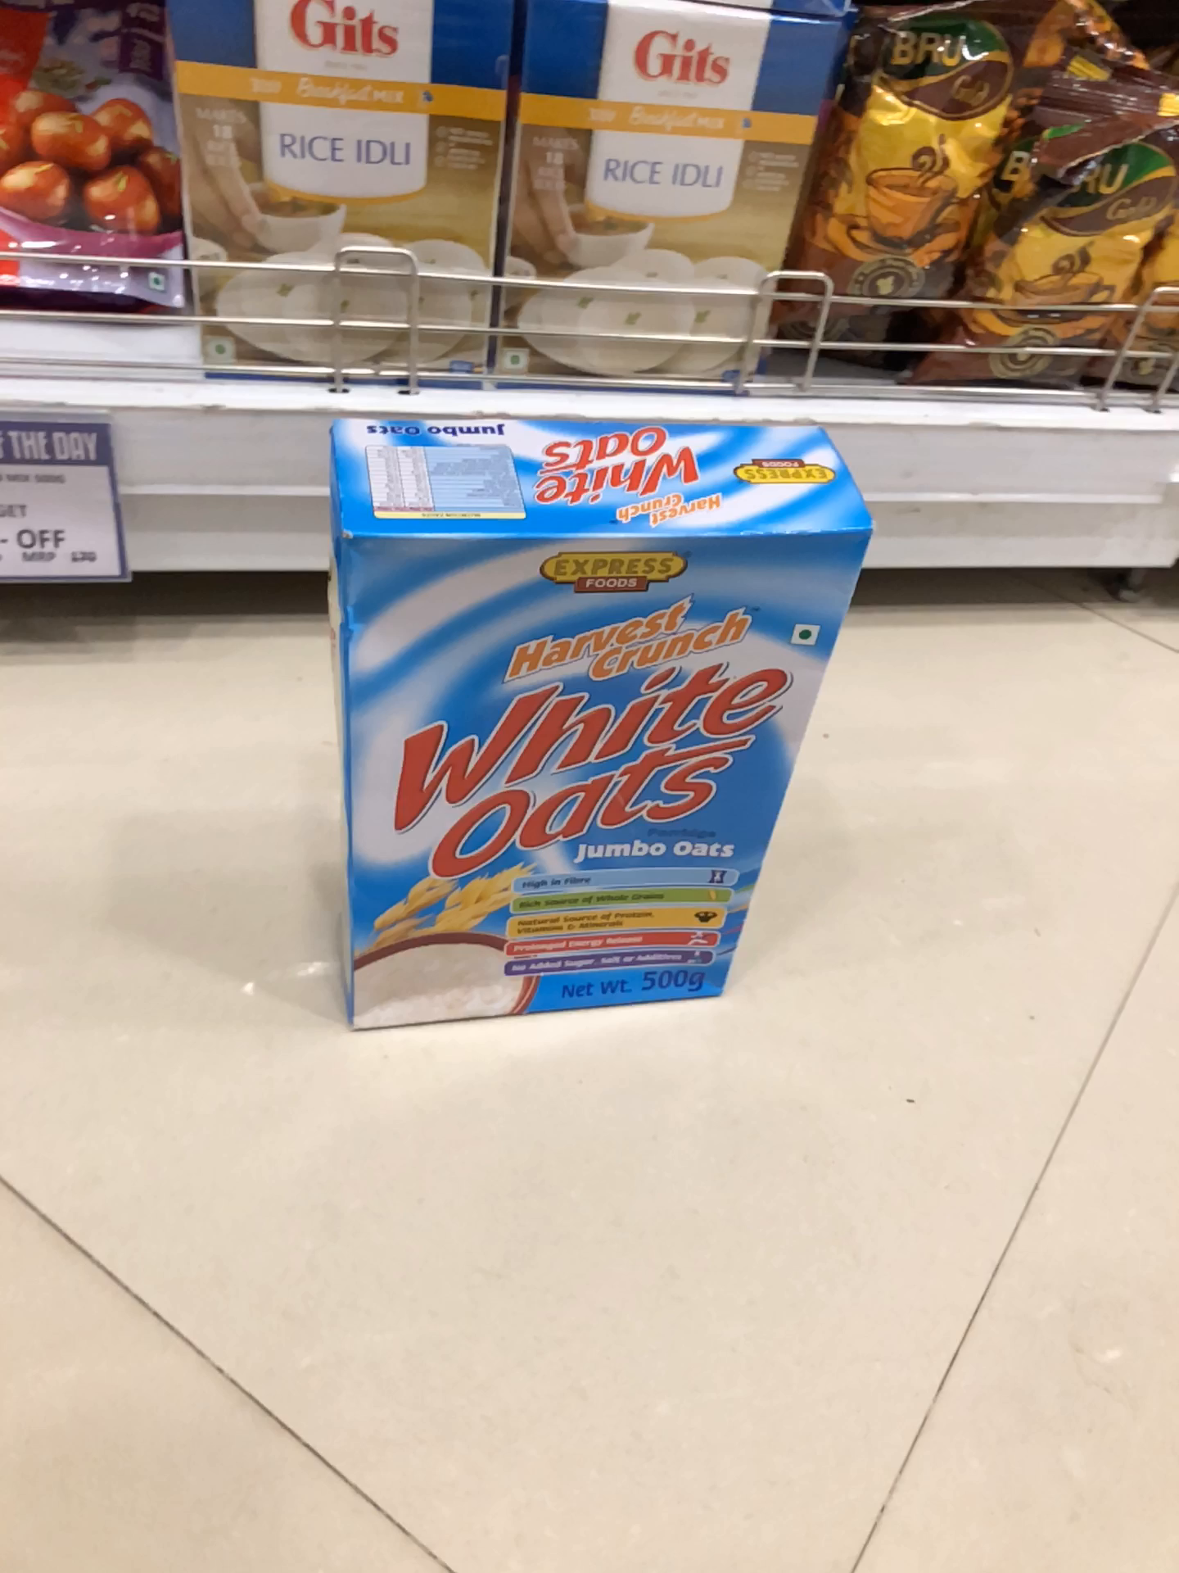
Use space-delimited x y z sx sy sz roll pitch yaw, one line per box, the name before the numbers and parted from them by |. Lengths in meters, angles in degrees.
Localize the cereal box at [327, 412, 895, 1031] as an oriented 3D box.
cereal box | -0.008 -0.011 0.439 0.150 0.218 0.060 -3 47 -12
